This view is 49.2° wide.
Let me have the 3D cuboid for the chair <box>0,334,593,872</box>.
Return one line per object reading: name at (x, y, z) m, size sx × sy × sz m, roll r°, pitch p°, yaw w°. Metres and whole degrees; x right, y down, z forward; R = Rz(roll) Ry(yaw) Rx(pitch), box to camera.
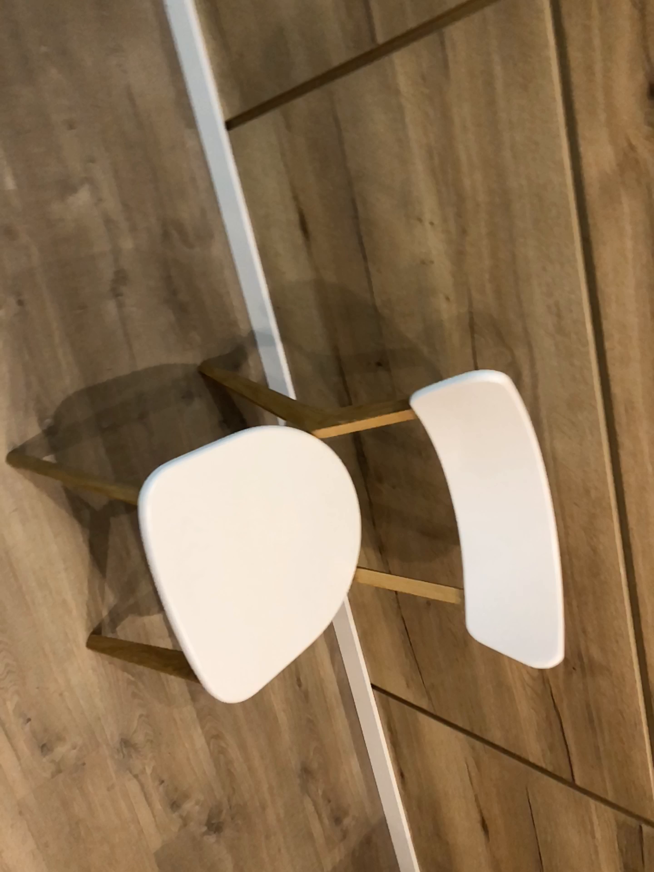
chair at (-0.097, 0.166, 1.236) m, size 0.532 × 0.826 × 0.500 m, roll -30°, pitch 113°, yaw -34°
